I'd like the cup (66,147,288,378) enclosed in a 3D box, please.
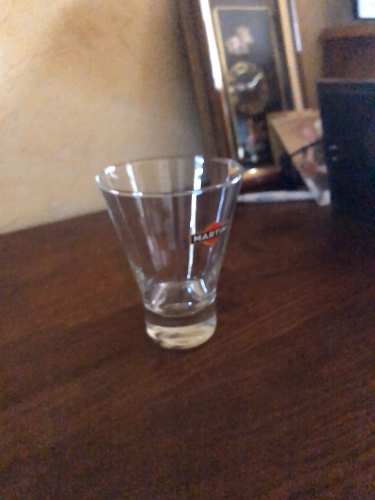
[{"bbox_3d":[-0.006,-0.003,0.275,0.090,0.099,0.100,-23,31,-37],"label":"cup"}]
